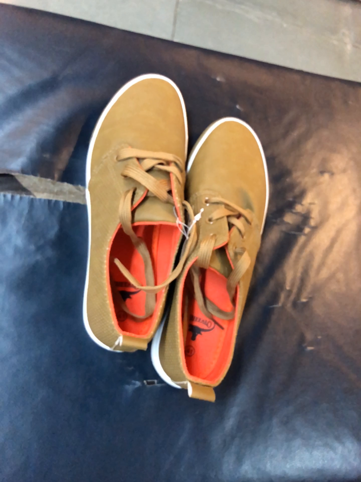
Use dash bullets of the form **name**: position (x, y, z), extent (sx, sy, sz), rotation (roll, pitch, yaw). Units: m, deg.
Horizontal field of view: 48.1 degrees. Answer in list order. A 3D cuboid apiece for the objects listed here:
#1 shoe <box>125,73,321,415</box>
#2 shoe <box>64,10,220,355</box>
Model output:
- **shoe**: position (0.040, 0.000, 0.360), extent (0.095, 0.091, 0.261), rotation (19, 71, -12)
- **shoe**: position (-0.032, -0.042, 0.350), extent (0.100, 0.097, 0.266), rotation (7, 74, -15)
